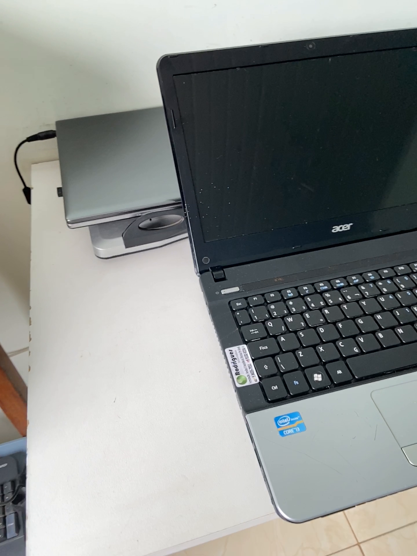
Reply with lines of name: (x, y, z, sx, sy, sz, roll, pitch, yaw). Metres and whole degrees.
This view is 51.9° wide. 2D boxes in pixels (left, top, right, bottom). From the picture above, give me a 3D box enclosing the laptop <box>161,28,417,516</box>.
laptop: (0.164, -0.067, 0.390, 0.332, 0.163, 0.397, -11, 45, -9)
